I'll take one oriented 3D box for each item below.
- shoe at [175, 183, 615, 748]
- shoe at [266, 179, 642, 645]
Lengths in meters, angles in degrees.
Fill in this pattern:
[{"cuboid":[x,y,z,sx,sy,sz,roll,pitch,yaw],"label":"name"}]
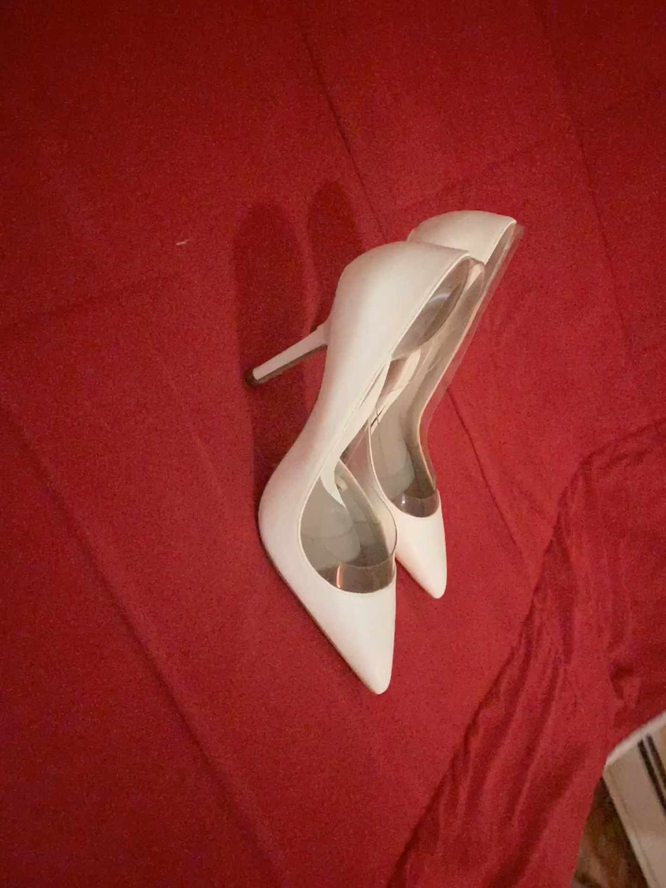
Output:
[{"cuboid":[0.033,0.015,0.359,0.098,0.136,0.243,-20,94,-52],"label":"shoe"},{"cuboid":[0.076,-0.012,0.424,0.098,0.139,0.240,-20,94,-52],"label":"shoe"}]
